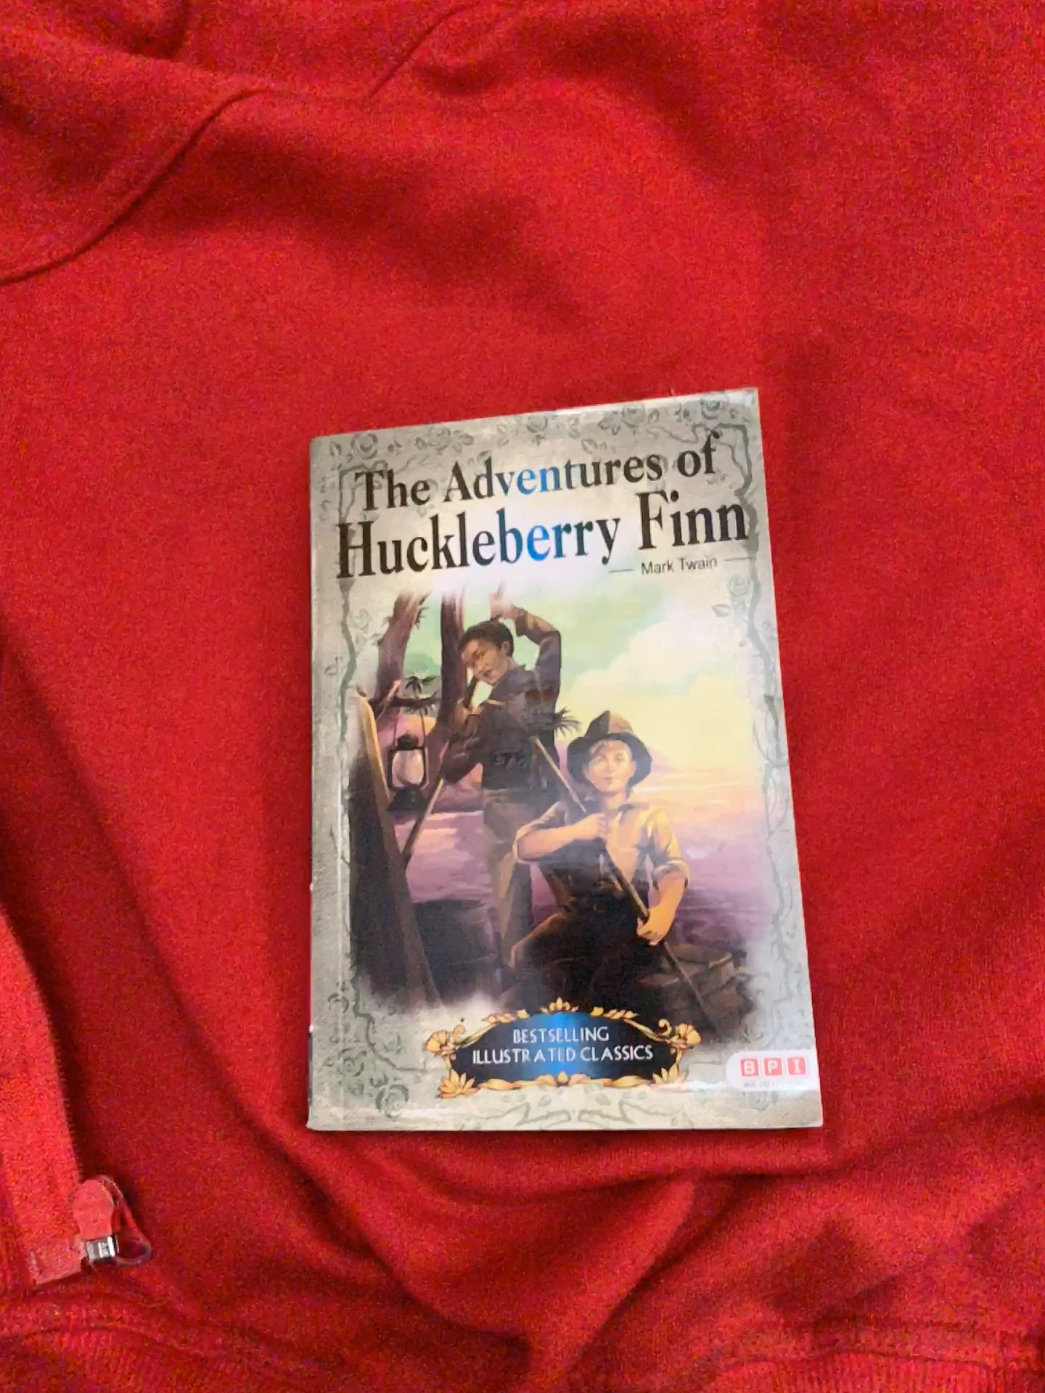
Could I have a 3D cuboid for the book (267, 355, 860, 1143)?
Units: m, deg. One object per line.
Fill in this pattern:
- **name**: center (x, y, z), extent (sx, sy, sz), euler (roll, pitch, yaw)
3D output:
- **book**: center (0.004, 0.011, 0.266), extent (0.130, 0.020, 0.180), euler (-4, 77, 8)
